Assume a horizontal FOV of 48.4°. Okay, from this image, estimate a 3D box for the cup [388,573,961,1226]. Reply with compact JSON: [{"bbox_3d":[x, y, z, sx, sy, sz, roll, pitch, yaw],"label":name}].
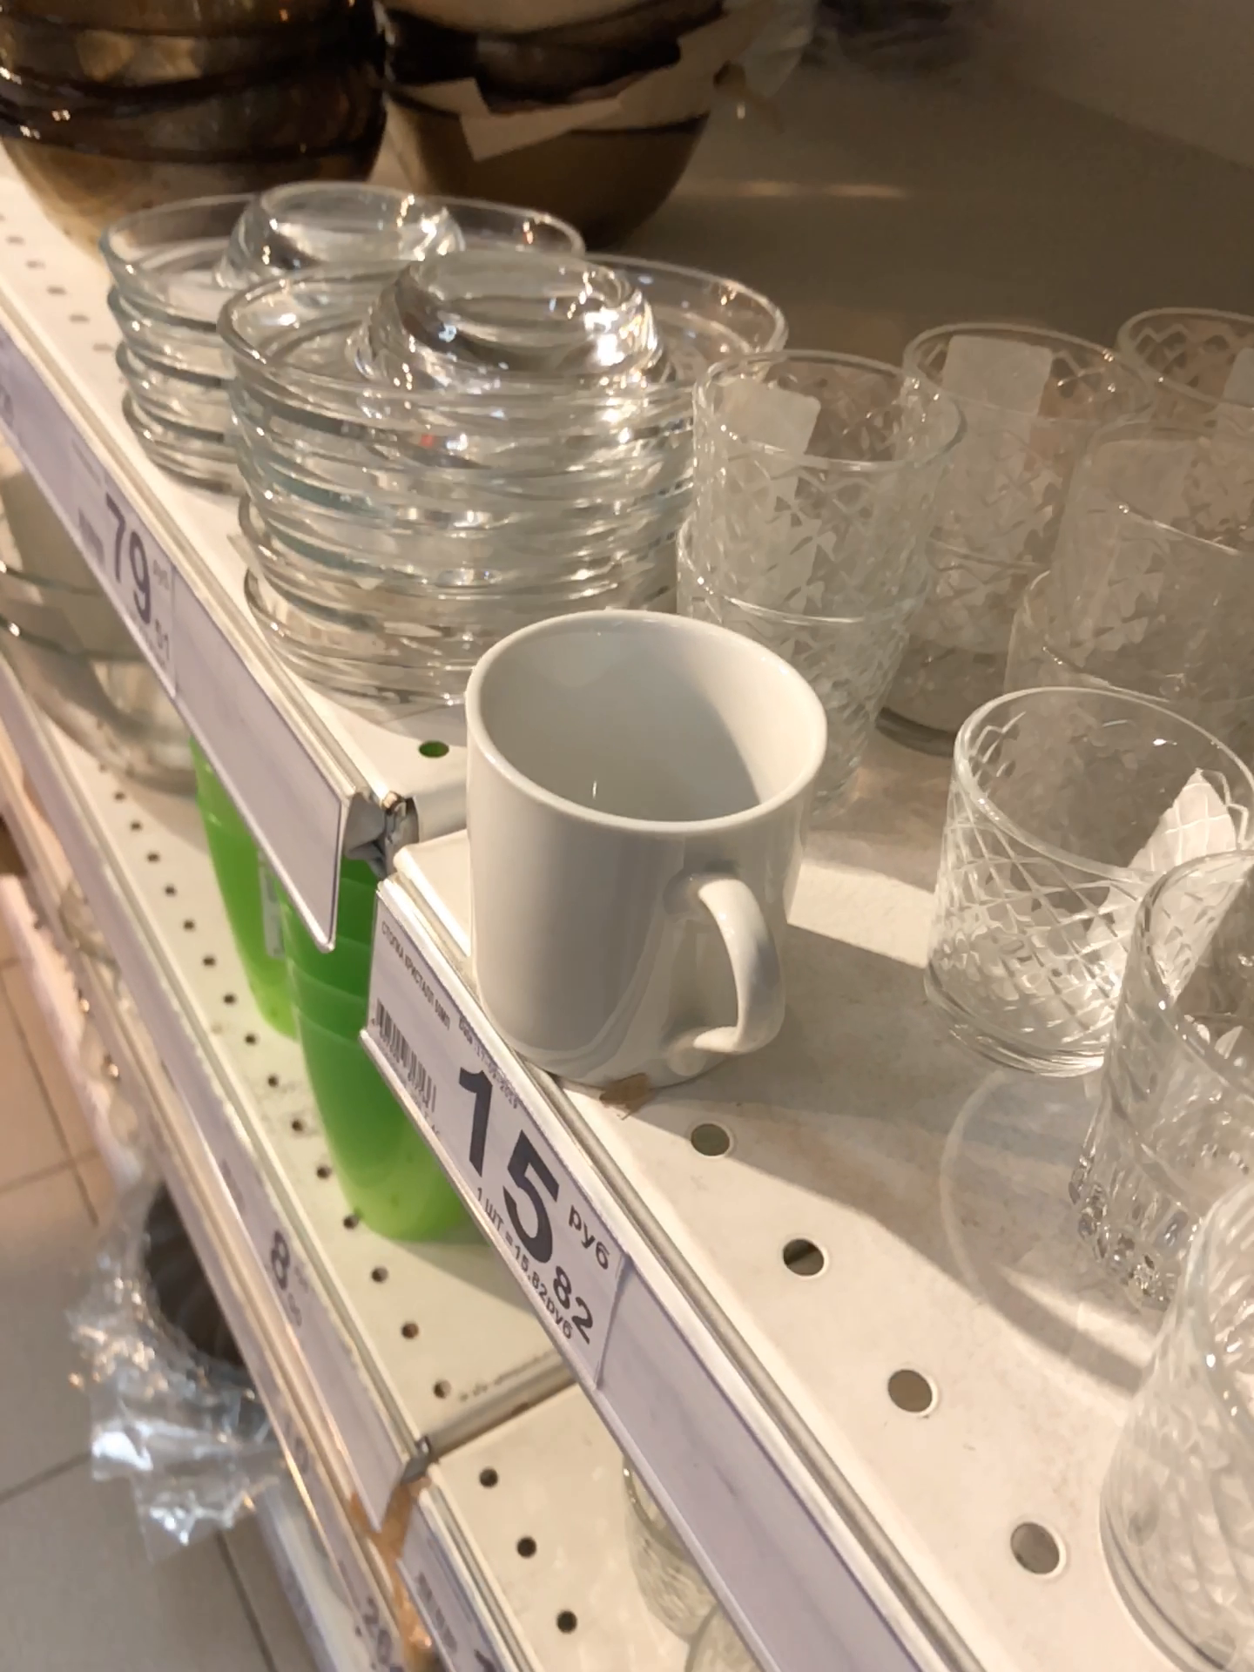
[{"bbox_3d":[0.002,0.007,0.227,0.057,0.060,0.075,-16,45,-23],"label":"cup"}]
